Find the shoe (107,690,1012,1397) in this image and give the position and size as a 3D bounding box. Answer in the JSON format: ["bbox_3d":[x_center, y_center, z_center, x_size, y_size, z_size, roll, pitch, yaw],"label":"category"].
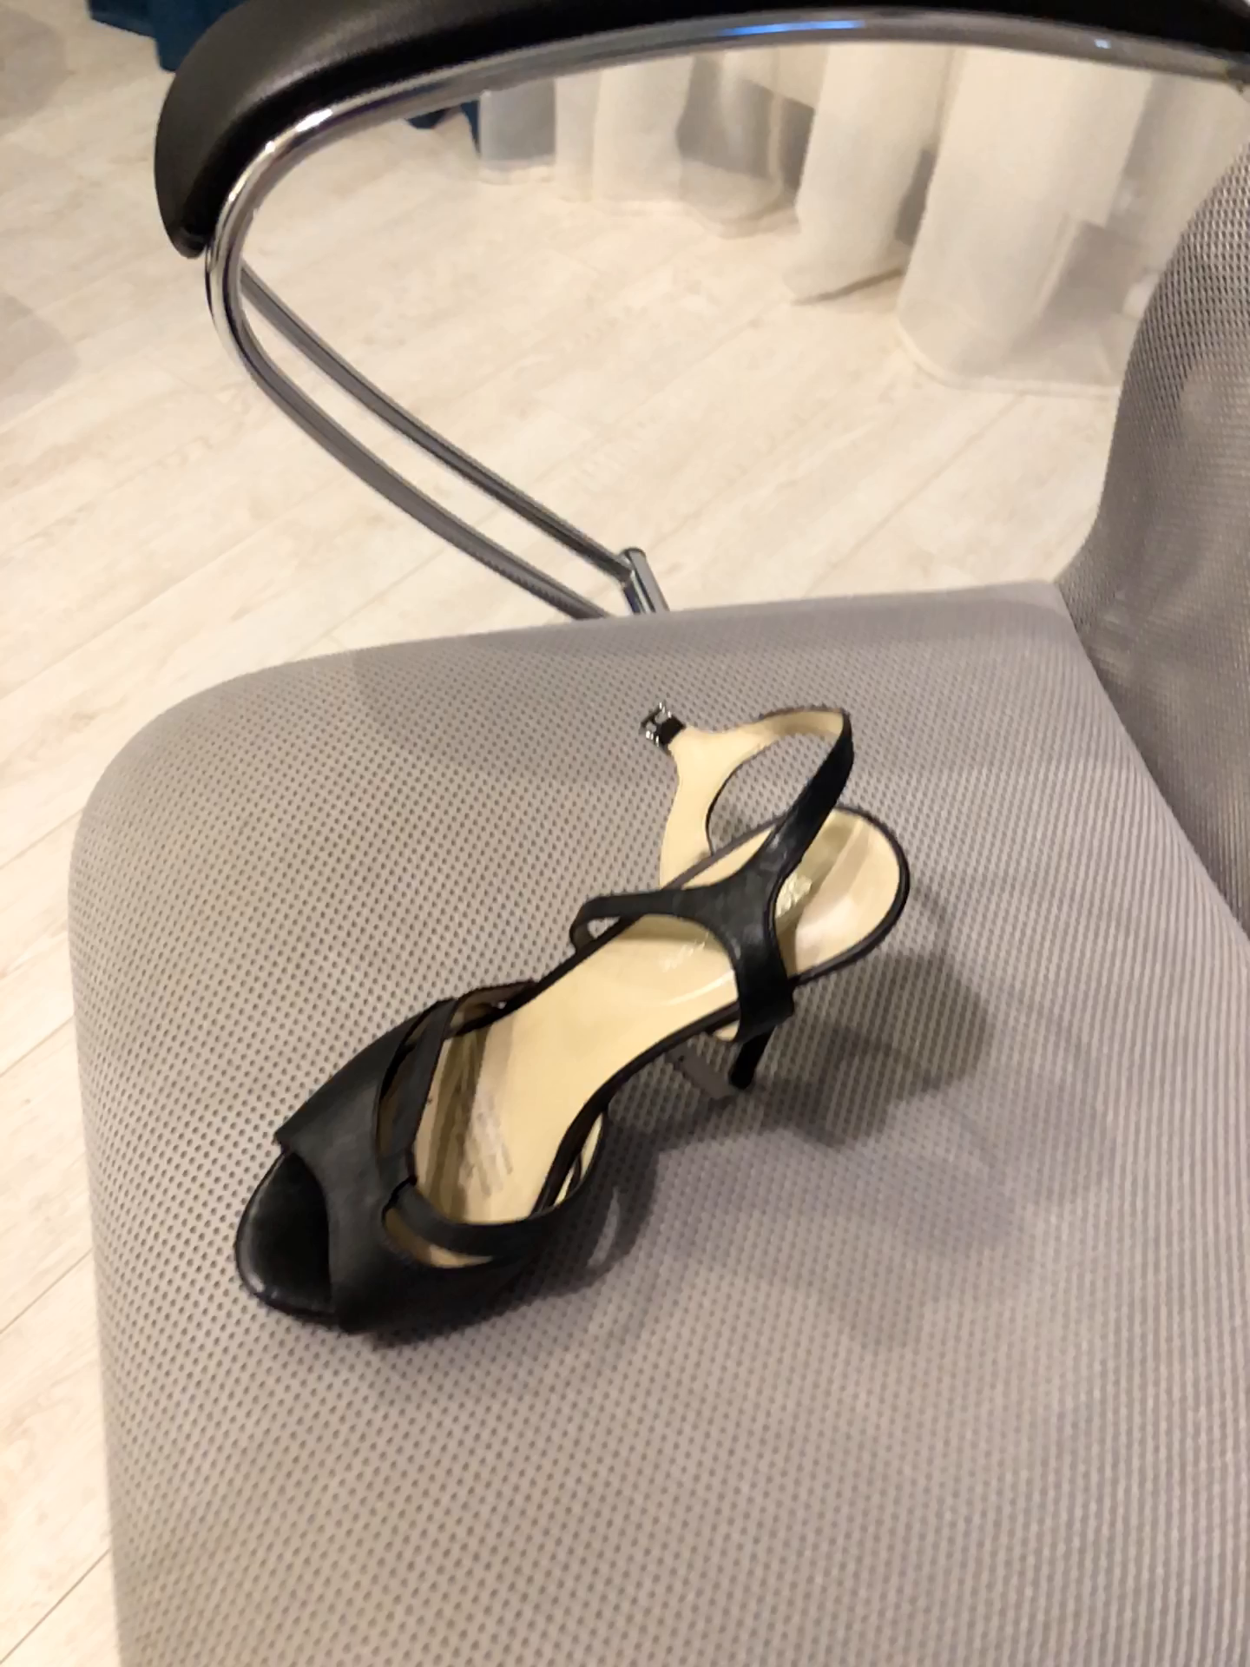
[{"bbox_3d":[-0.018,0.059,0.395,0.210,0.119,0.090,-18,56,-16],"label":"shoe"}]
